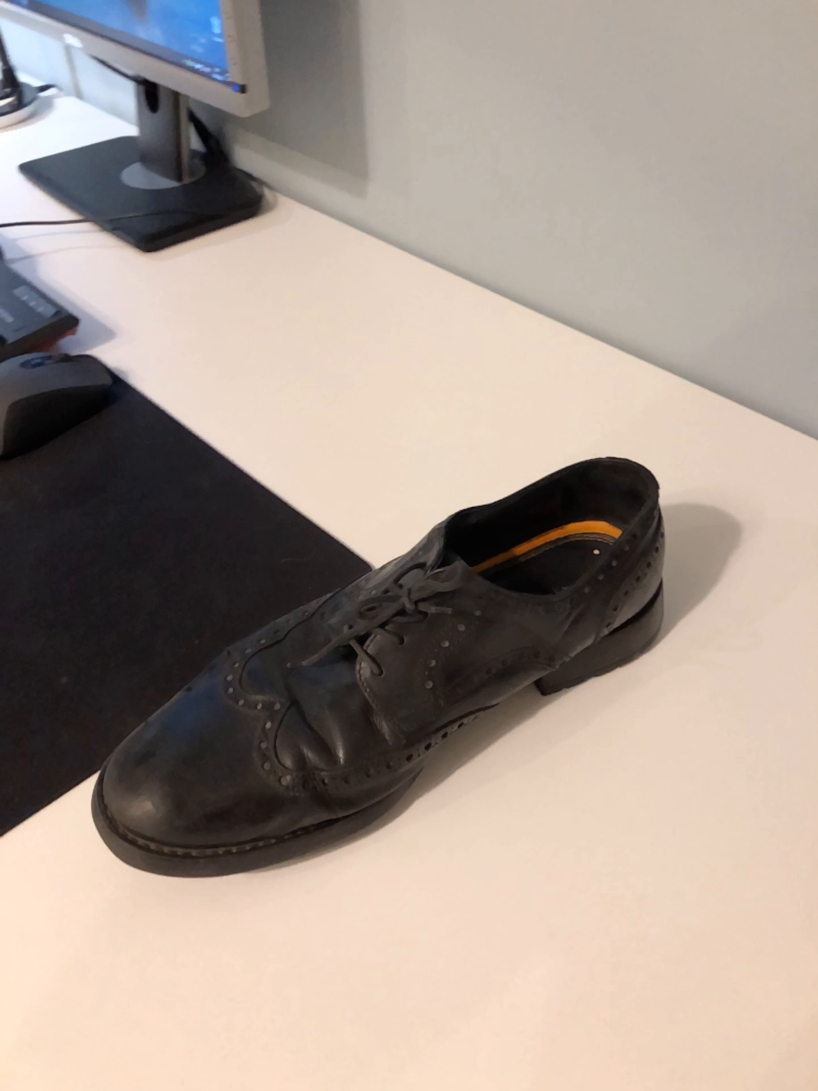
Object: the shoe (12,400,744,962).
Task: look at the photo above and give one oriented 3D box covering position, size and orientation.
[{"bbox_3d":[-0.004,0.043,0.431,0.313,0.079,0.120,-25,48,-23],"label":"shoe"}]
